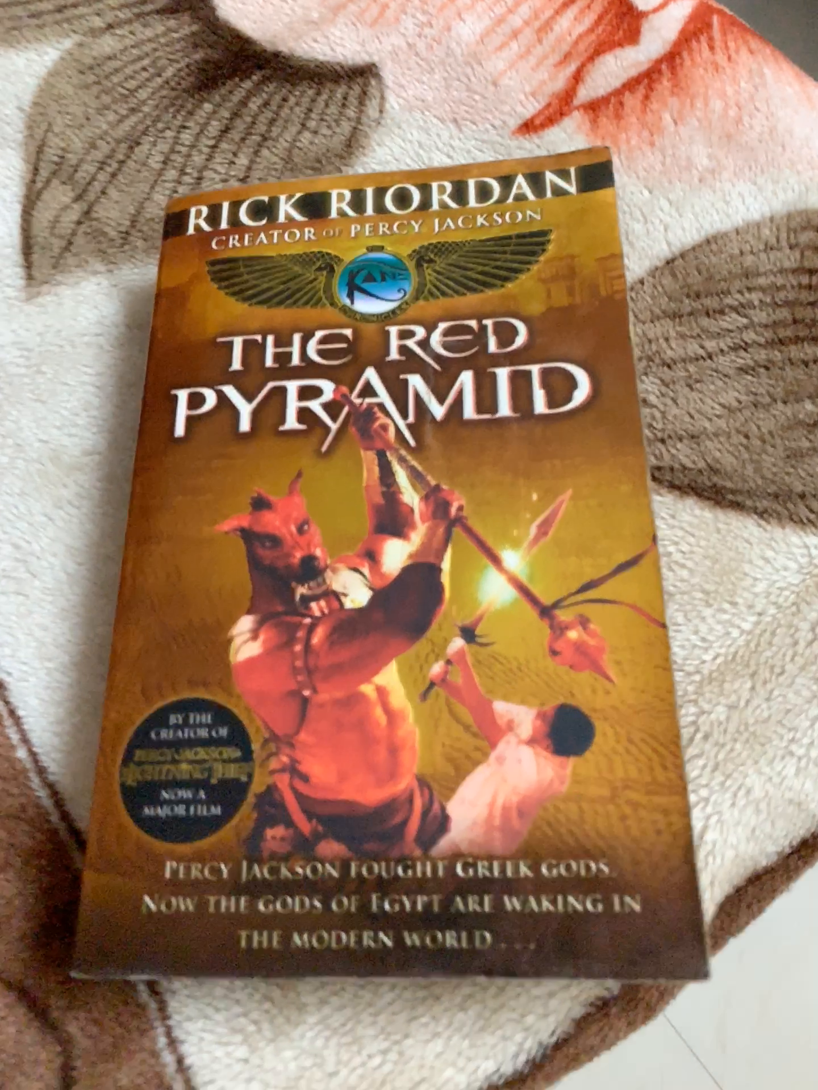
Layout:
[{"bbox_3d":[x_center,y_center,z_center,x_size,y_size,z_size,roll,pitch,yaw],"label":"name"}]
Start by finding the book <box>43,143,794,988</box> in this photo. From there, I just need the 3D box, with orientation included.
[{"bbox_3d":[0.000,-0.007,0.229,0.150,0.040,0.221,-2,67,3],"label":"book"}]
